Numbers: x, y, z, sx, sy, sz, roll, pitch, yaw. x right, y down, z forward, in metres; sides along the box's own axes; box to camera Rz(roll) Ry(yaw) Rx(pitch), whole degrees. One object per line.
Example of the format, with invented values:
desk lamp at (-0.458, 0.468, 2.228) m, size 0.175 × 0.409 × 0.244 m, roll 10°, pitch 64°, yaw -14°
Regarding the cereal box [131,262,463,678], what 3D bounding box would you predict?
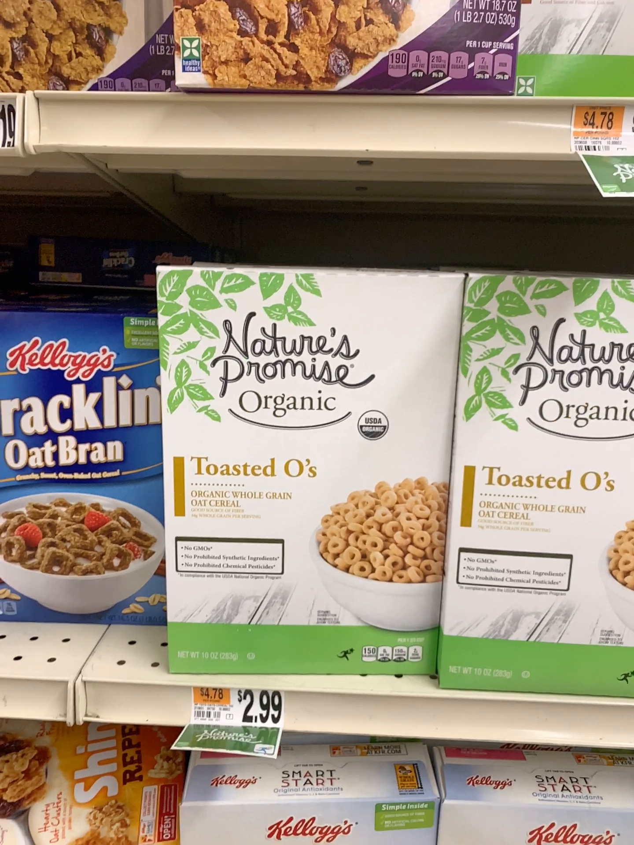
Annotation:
cereal box at (-0.014, 0.033, 0.441) m, size 0.190 × 0.269 × 0.070 m, roll 1°, pitch 15°, yaw -1°
